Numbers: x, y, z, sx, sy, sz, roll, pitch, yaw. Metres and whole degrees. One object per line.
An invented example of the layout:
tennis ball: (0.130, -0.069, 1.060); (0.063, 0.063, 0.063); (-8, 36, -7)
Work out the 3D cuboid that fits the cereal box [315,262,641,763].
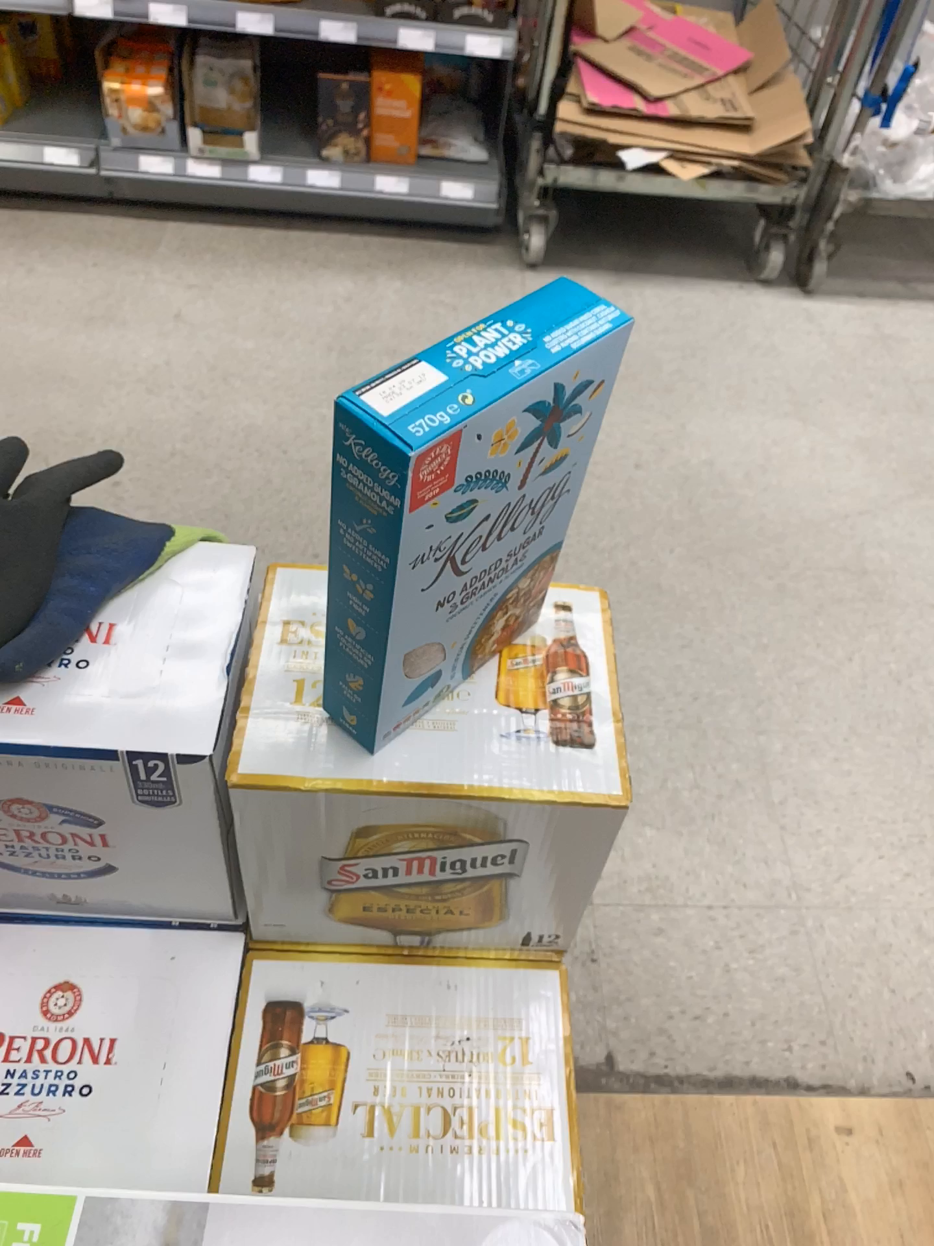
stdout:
cereal box: (-0.004, -0.049, 0.530); (0.050, 0.248, 0.161); (39, 55, 20)
